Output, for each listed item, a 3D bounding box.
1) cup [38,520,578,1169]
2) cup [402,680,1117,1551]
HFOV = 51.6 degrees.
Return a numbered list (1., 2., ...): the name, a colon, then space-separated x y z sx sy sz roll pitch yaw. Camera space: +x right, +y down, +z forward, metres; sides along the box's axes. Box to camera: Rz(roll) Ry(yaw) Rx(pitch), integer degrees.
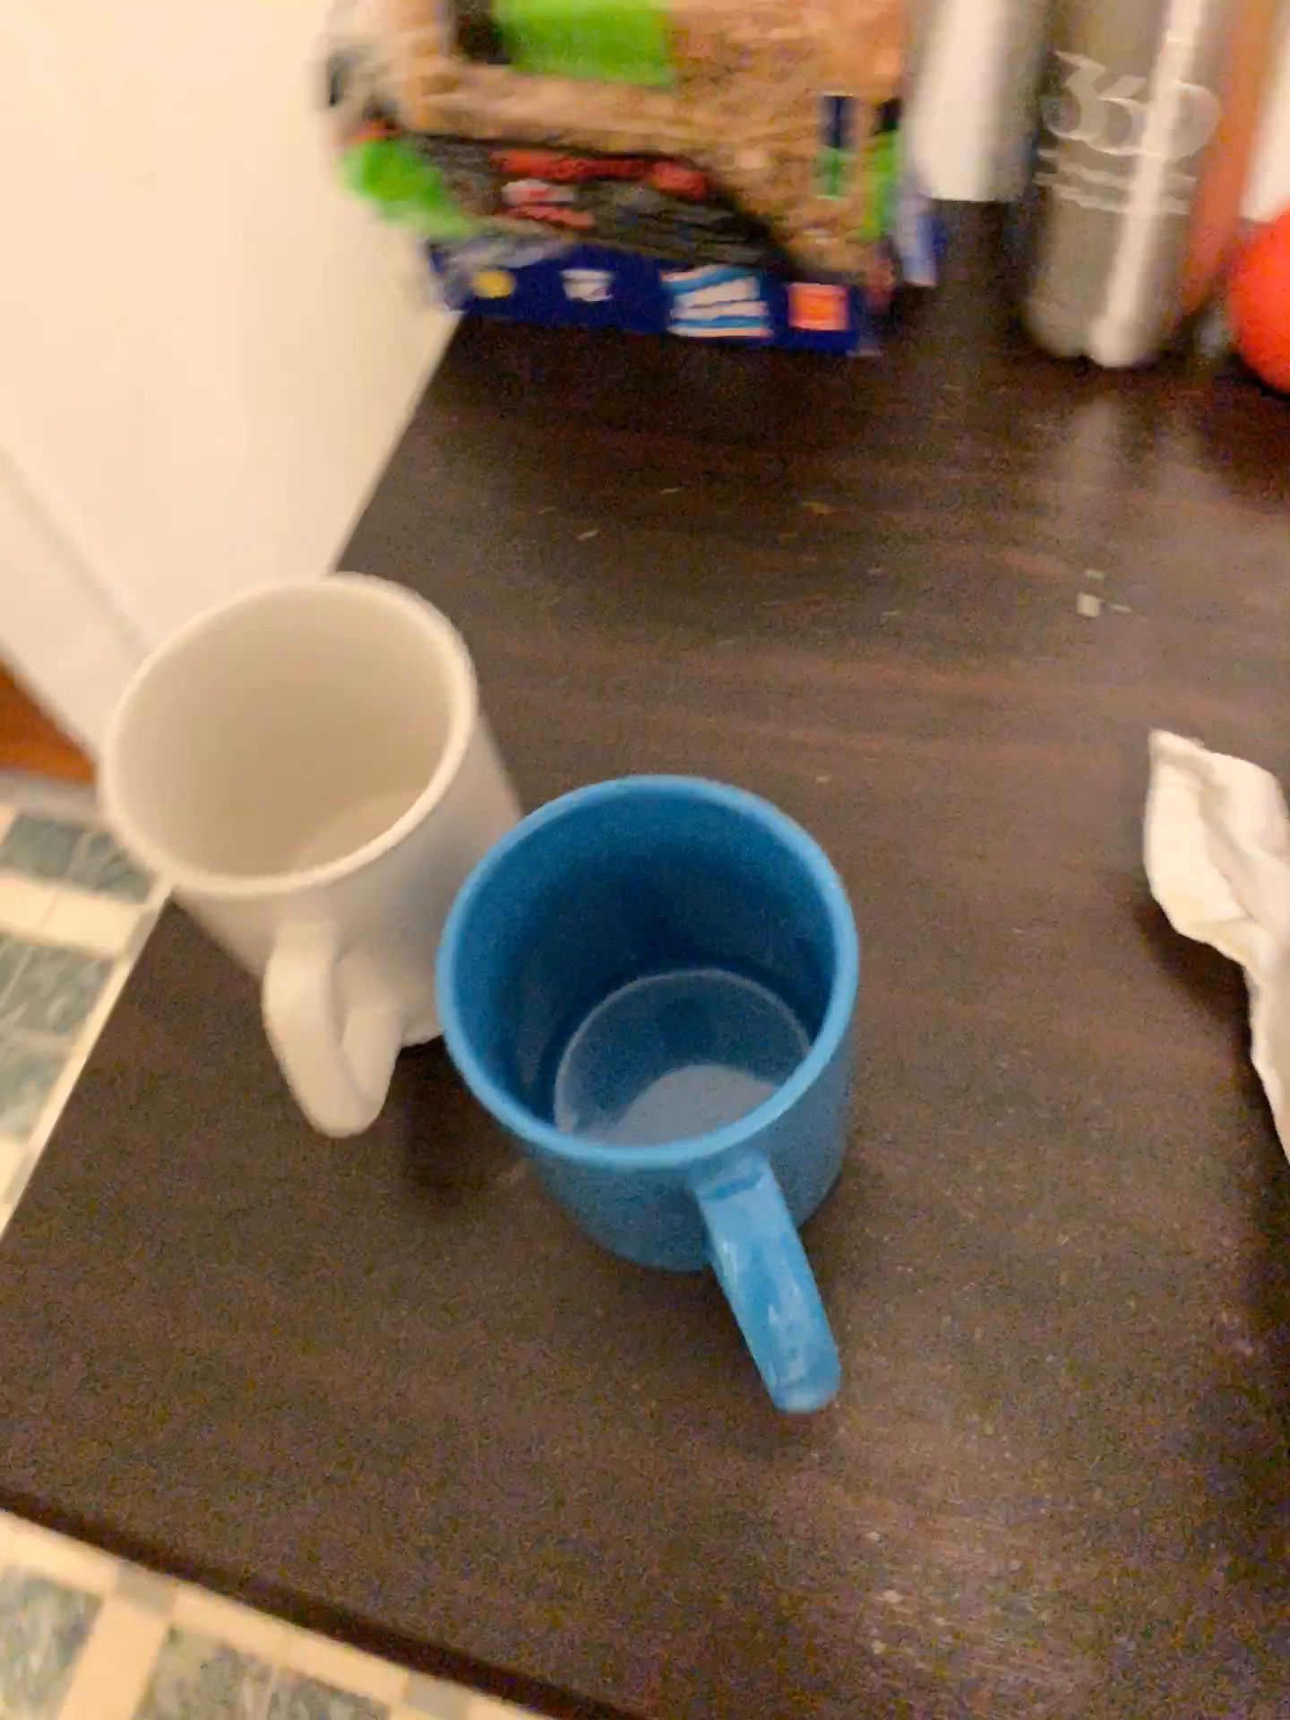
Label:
1. cup: -0.069 0.000 0.321 0.090 0.090 0.120 -5 61 6
2. cup: 0.018 0.058 0.287 0.090 0.100 0.140 -18 61 -1
